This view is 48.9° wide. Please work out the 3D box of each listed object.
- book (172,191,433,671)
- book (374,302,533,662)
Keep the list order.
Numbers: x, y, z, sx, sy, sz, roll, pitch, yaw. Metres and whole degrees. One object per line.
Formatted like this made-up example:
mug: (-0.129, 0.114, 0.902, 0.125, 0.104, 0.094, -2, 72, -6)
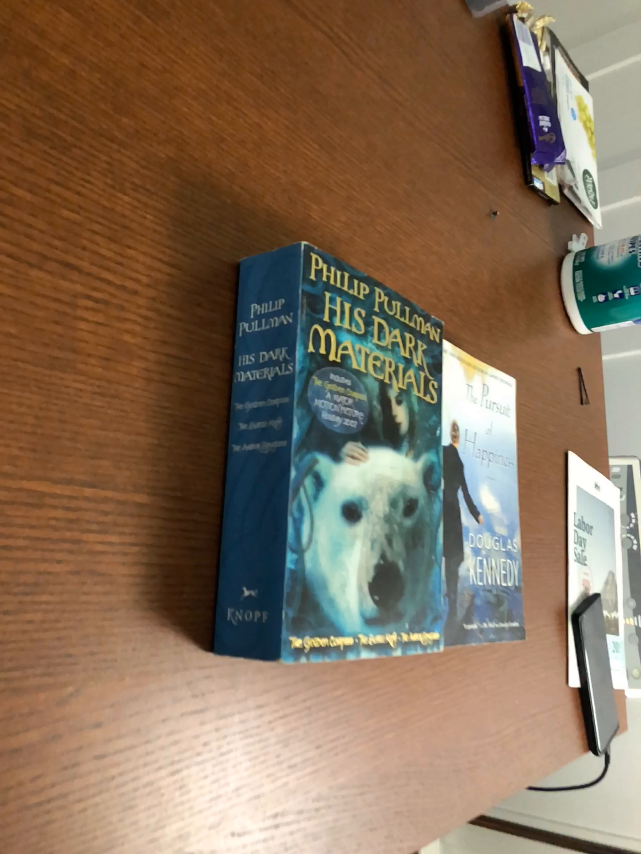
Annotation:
book: (0.003, 0.012, 0.443, 0.181, 0.050, 0.250, 17, 70, -50)
book: (0.112, 0.050, 0.568, 0.181, 0.040, 0.250, 17, 70, -50)
